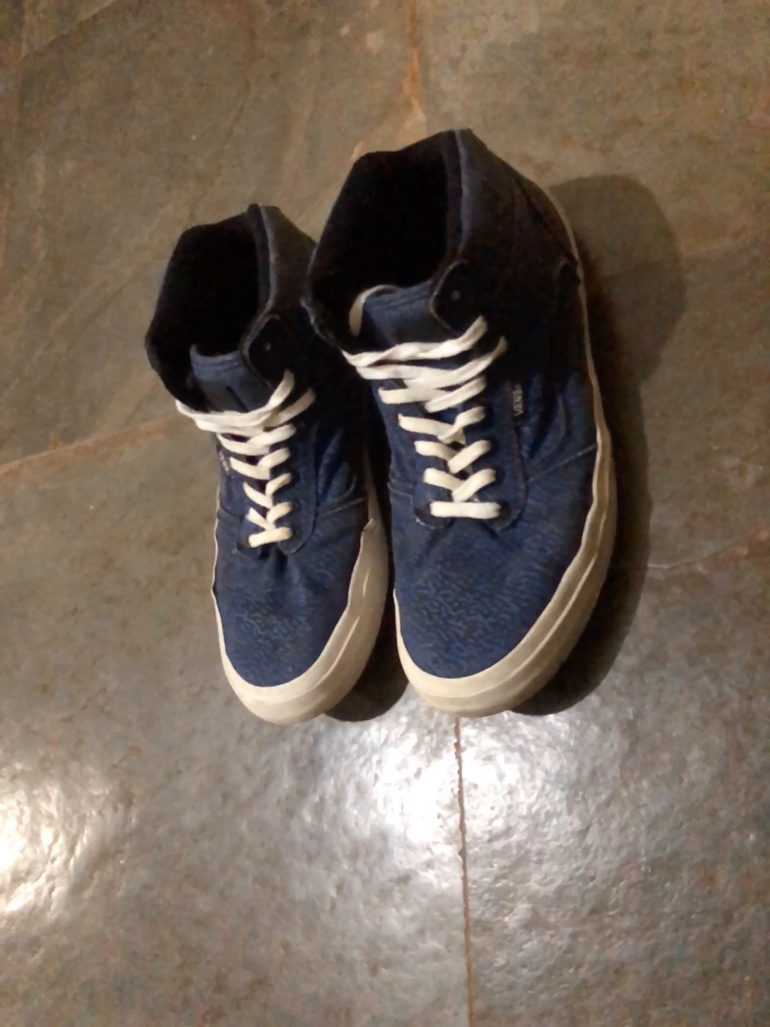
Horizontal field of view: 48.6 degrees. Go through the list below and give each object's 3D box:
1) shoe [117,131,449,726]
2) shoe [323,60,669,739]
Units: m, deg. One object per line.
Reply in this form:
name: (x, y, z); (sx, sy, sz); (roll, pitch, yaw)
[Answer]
shoe: (-0.048, -0.033, 0.457); (0.120, 0.110, 0.280); (-10, 72, 28)
shoe: (0.053, -0.043, 0.396); (0.120, 0.090, 0.280); (-6, 73, 29)
